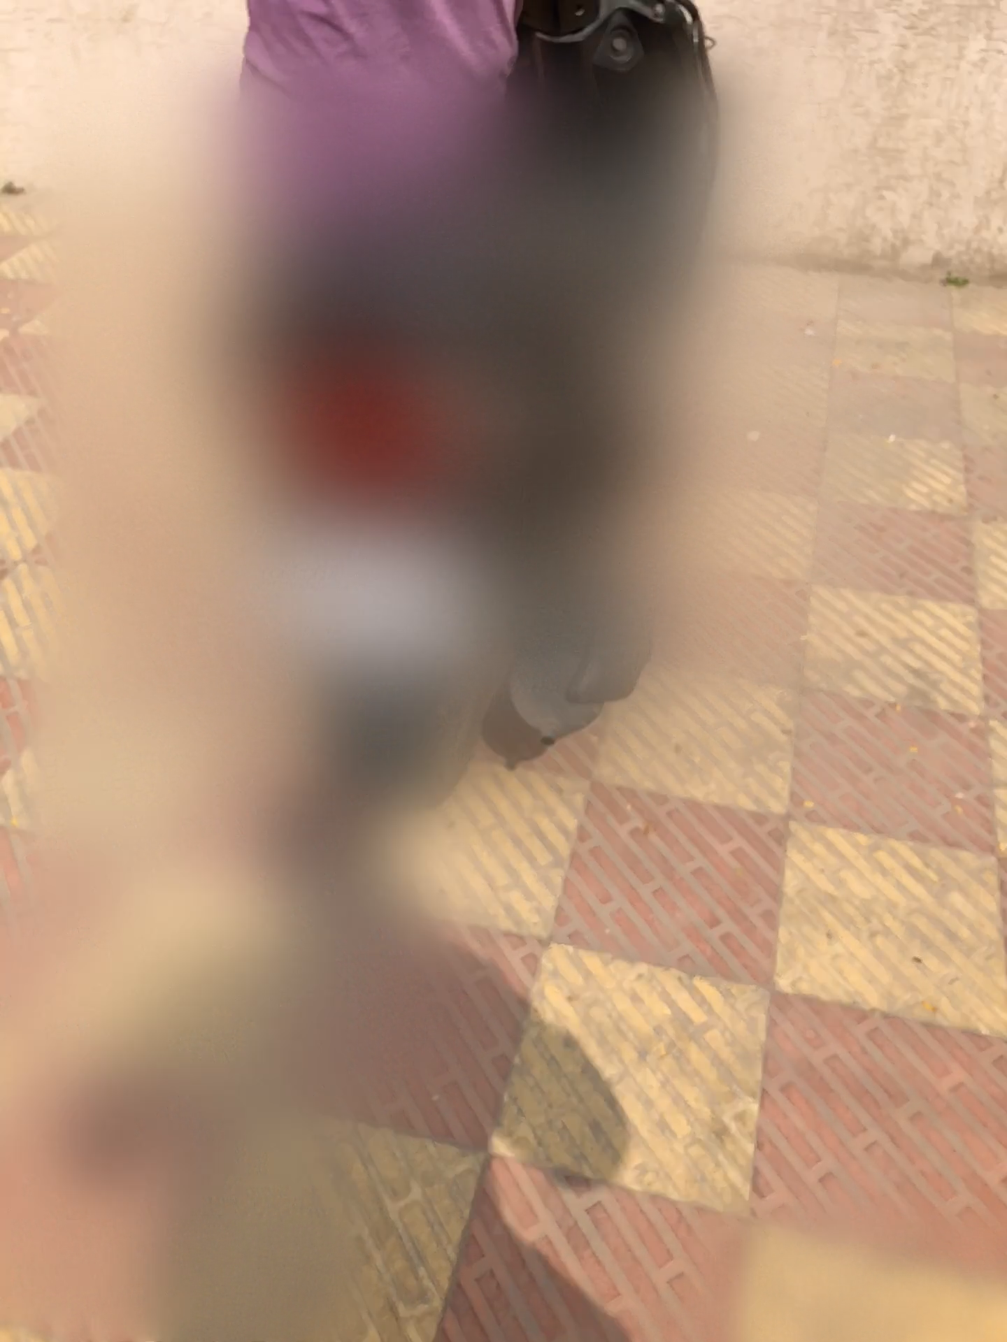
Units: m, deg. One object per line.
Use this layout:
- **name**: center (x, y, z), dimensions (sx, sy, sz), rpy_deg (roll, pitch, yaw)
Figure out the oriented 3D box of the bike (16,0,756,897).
- **bike**: center (0.012, -0.594, 1.740), dimensions (0.573, 0.988, 1.516), rpy_deg (5, 40, 7)
